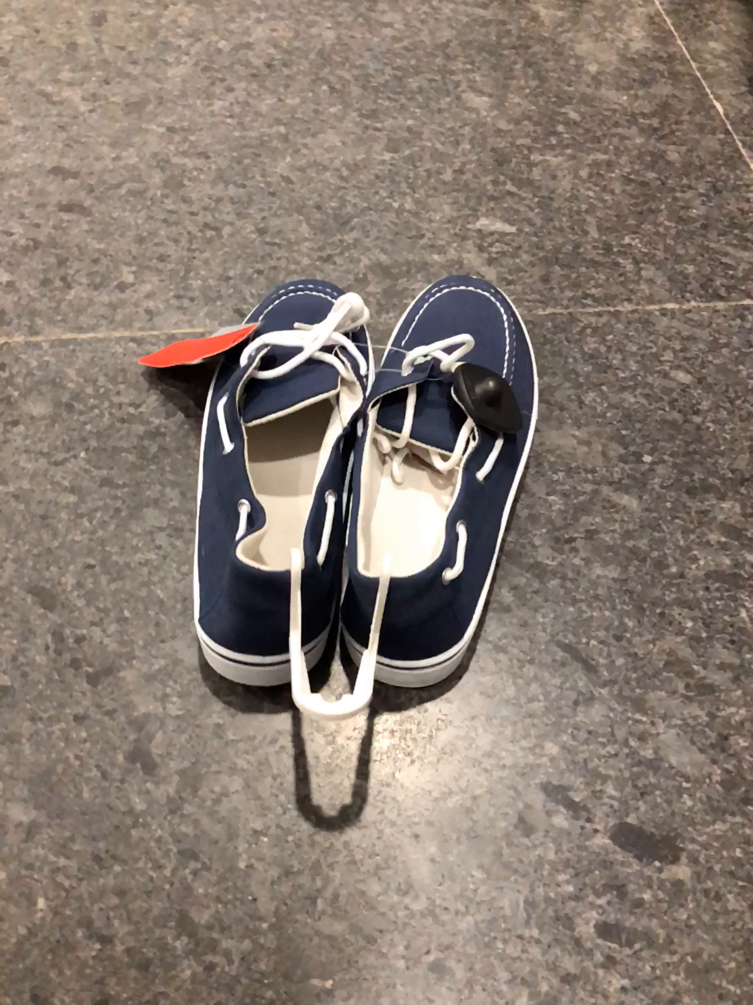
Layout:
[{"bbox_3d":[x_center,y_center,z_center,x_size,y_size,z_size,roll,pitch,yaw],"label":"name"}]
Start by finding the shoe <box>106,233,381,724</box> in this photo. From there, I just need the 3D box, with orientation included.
[{"bbox_3d":[-0.057,-0.021,0.465,0.096,0.114,0.250,5,54,1],"label":"shoe"}]

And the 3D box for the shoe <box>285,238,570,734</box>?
[{"bbox_3d":[0.035,-0.018,0.470,0.096,0.114,0.248,13,55,6],"label":"shoe"}]
